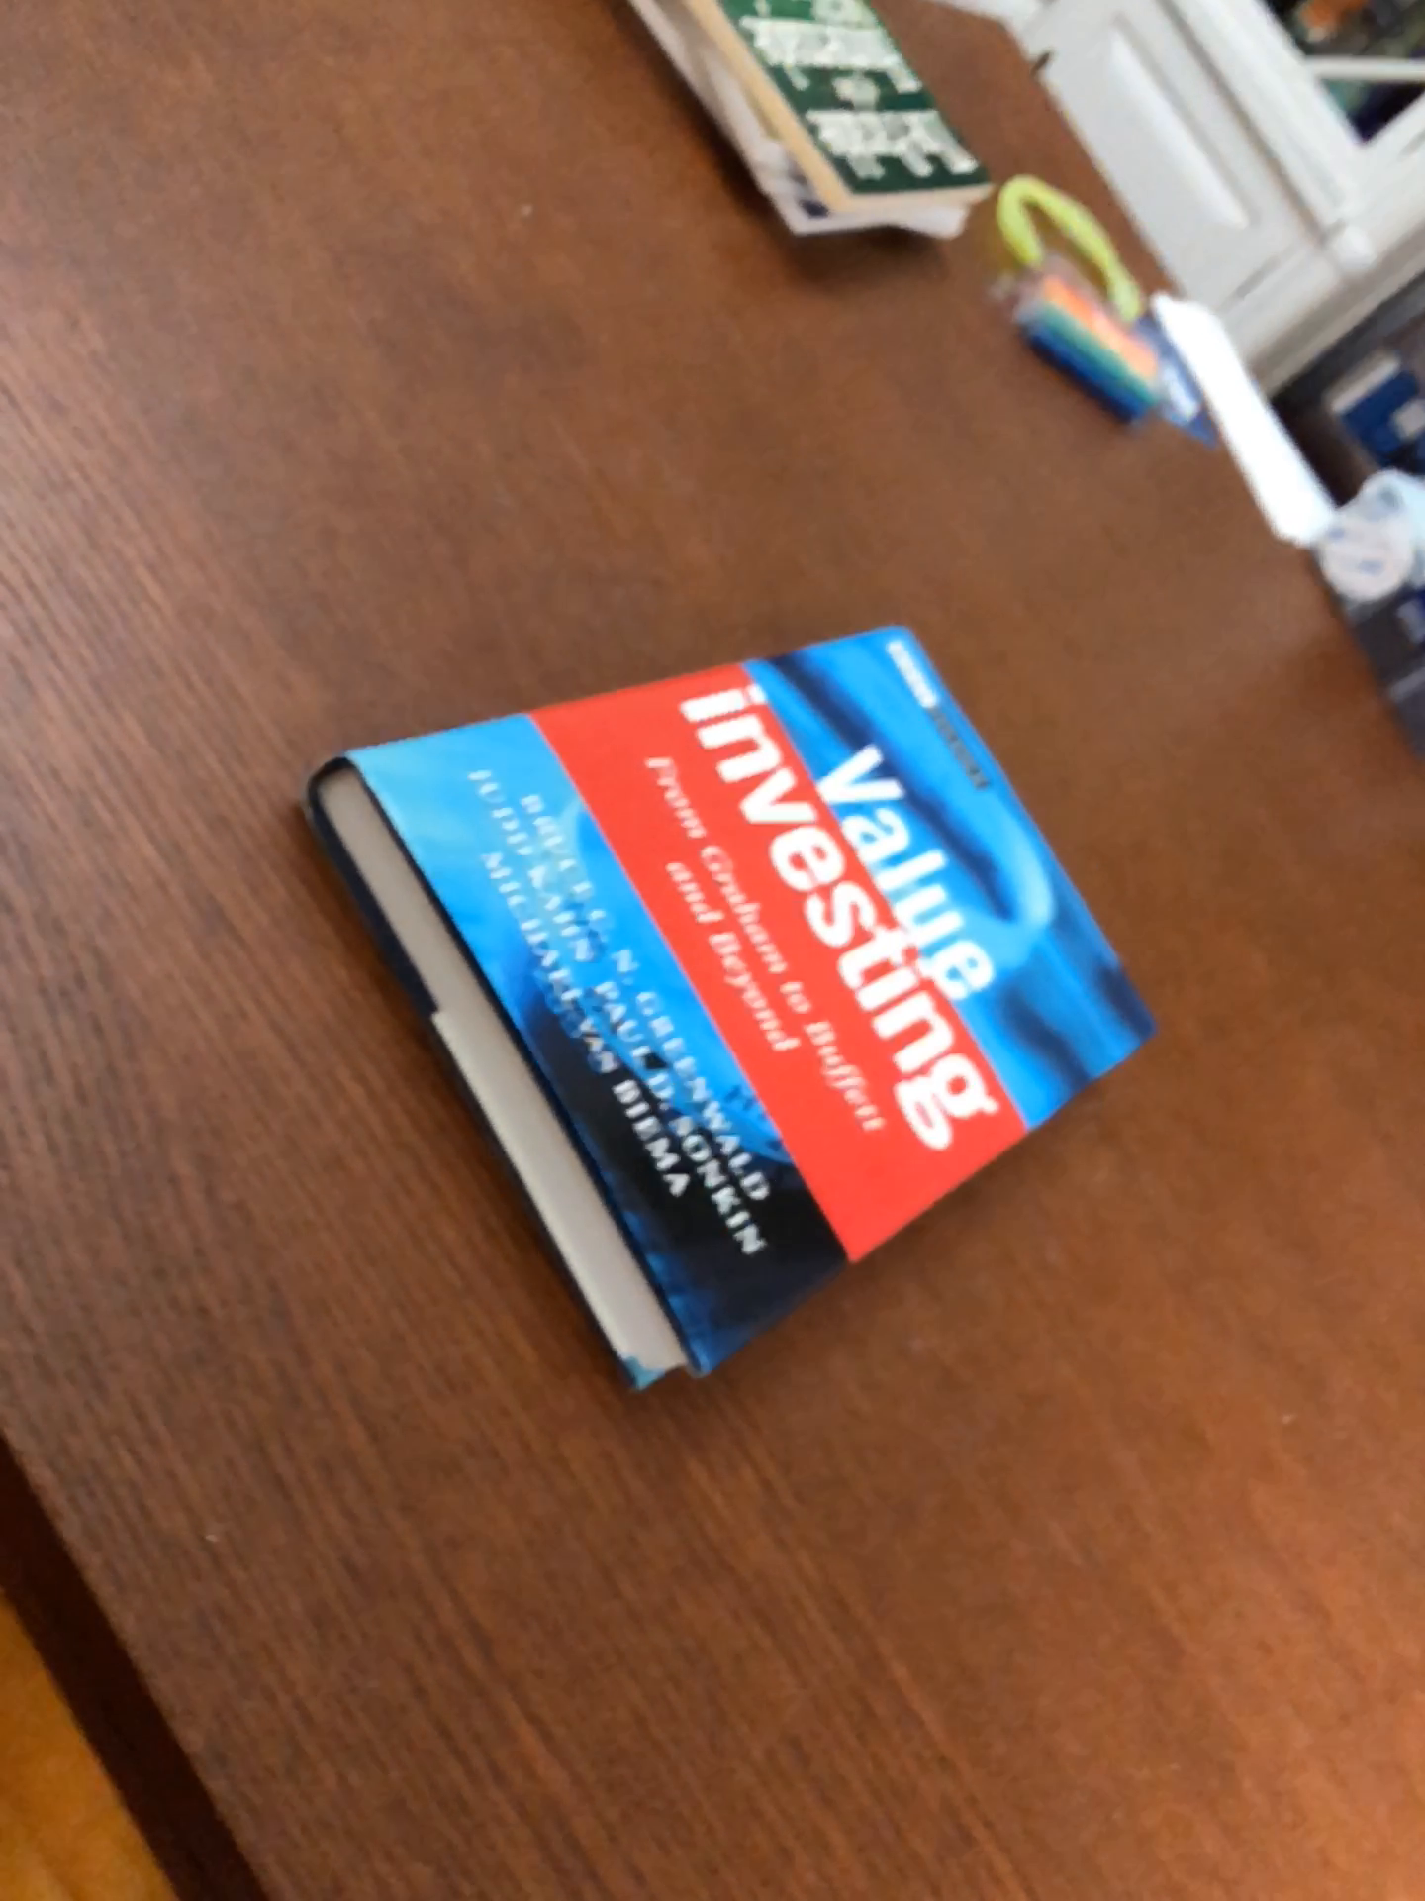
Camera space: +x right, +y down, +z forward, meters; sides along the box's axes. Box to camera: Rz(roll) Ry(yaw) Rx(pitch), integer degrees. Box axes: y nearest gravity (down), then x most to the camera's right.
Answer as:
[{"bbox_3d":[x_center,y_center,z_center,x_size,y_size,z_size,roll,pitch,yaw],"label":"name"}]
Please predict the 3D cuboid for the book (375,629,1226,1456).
[{"bbox_3d":[0.043,0.002,0.435,0.231,0.020,0.170,-23,80,-48],"label":"book"}]
